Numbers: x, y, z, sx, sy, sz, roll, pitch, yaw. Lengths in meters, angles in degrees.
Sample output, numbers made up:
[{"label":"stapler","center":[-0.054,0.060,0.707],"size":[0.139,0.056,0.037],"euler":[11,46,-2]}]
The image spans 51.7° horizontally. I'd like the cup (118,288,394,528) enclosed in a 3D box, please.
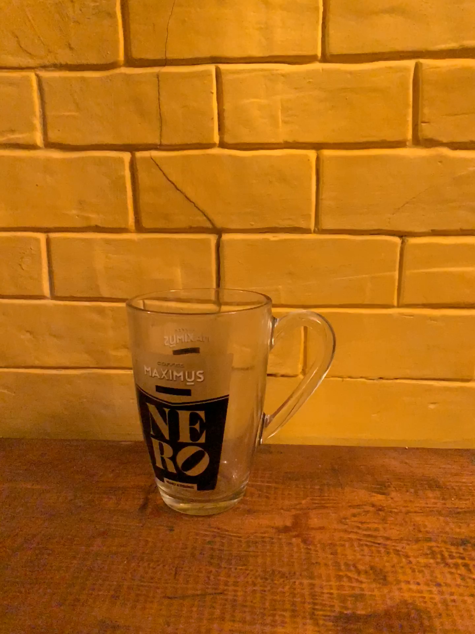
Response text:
[{"label":"cup","center":[0.007,0.043,0.278],"size":[0.124,0.099,0.094],"euler":[-1,15,-2]}]
